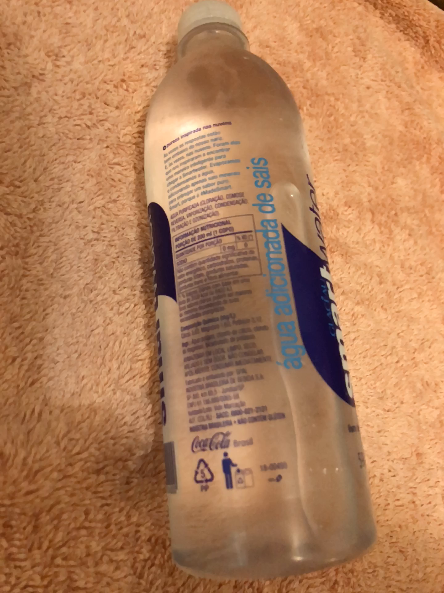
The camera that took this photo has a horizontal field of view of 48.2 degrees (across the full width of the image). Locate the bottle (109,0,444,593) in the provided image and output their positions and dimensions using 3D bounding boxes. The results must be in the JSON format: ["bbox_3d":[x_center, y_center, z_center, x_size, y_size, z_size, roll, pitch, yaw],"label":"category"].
[{"bbox_3d":[0.014,-0.020,0.173,0.080,0.050,0.230,6,72,-39],"label":"bottle"}]
